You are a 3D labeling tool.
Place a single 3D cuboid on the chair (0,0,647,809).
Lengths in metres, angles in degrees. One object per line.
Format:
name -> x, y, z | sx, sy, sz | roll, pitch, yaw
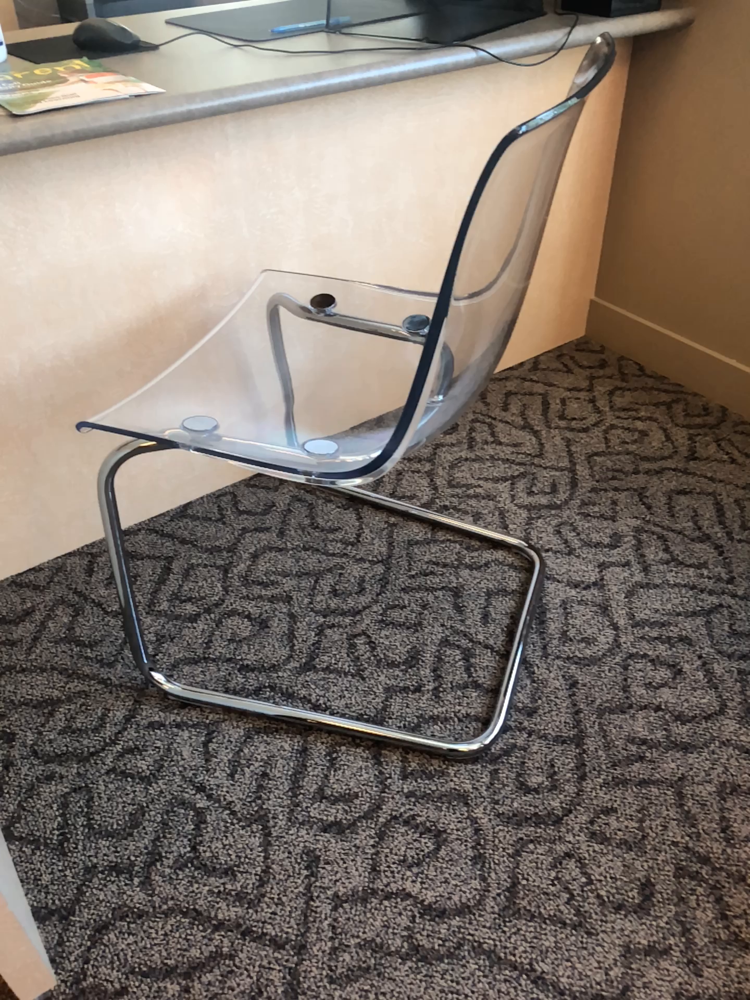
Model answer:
chair -> -0.065, -0.166, 1.102 | 0.641, 0.804, 0.603 | 12, 39, 16
